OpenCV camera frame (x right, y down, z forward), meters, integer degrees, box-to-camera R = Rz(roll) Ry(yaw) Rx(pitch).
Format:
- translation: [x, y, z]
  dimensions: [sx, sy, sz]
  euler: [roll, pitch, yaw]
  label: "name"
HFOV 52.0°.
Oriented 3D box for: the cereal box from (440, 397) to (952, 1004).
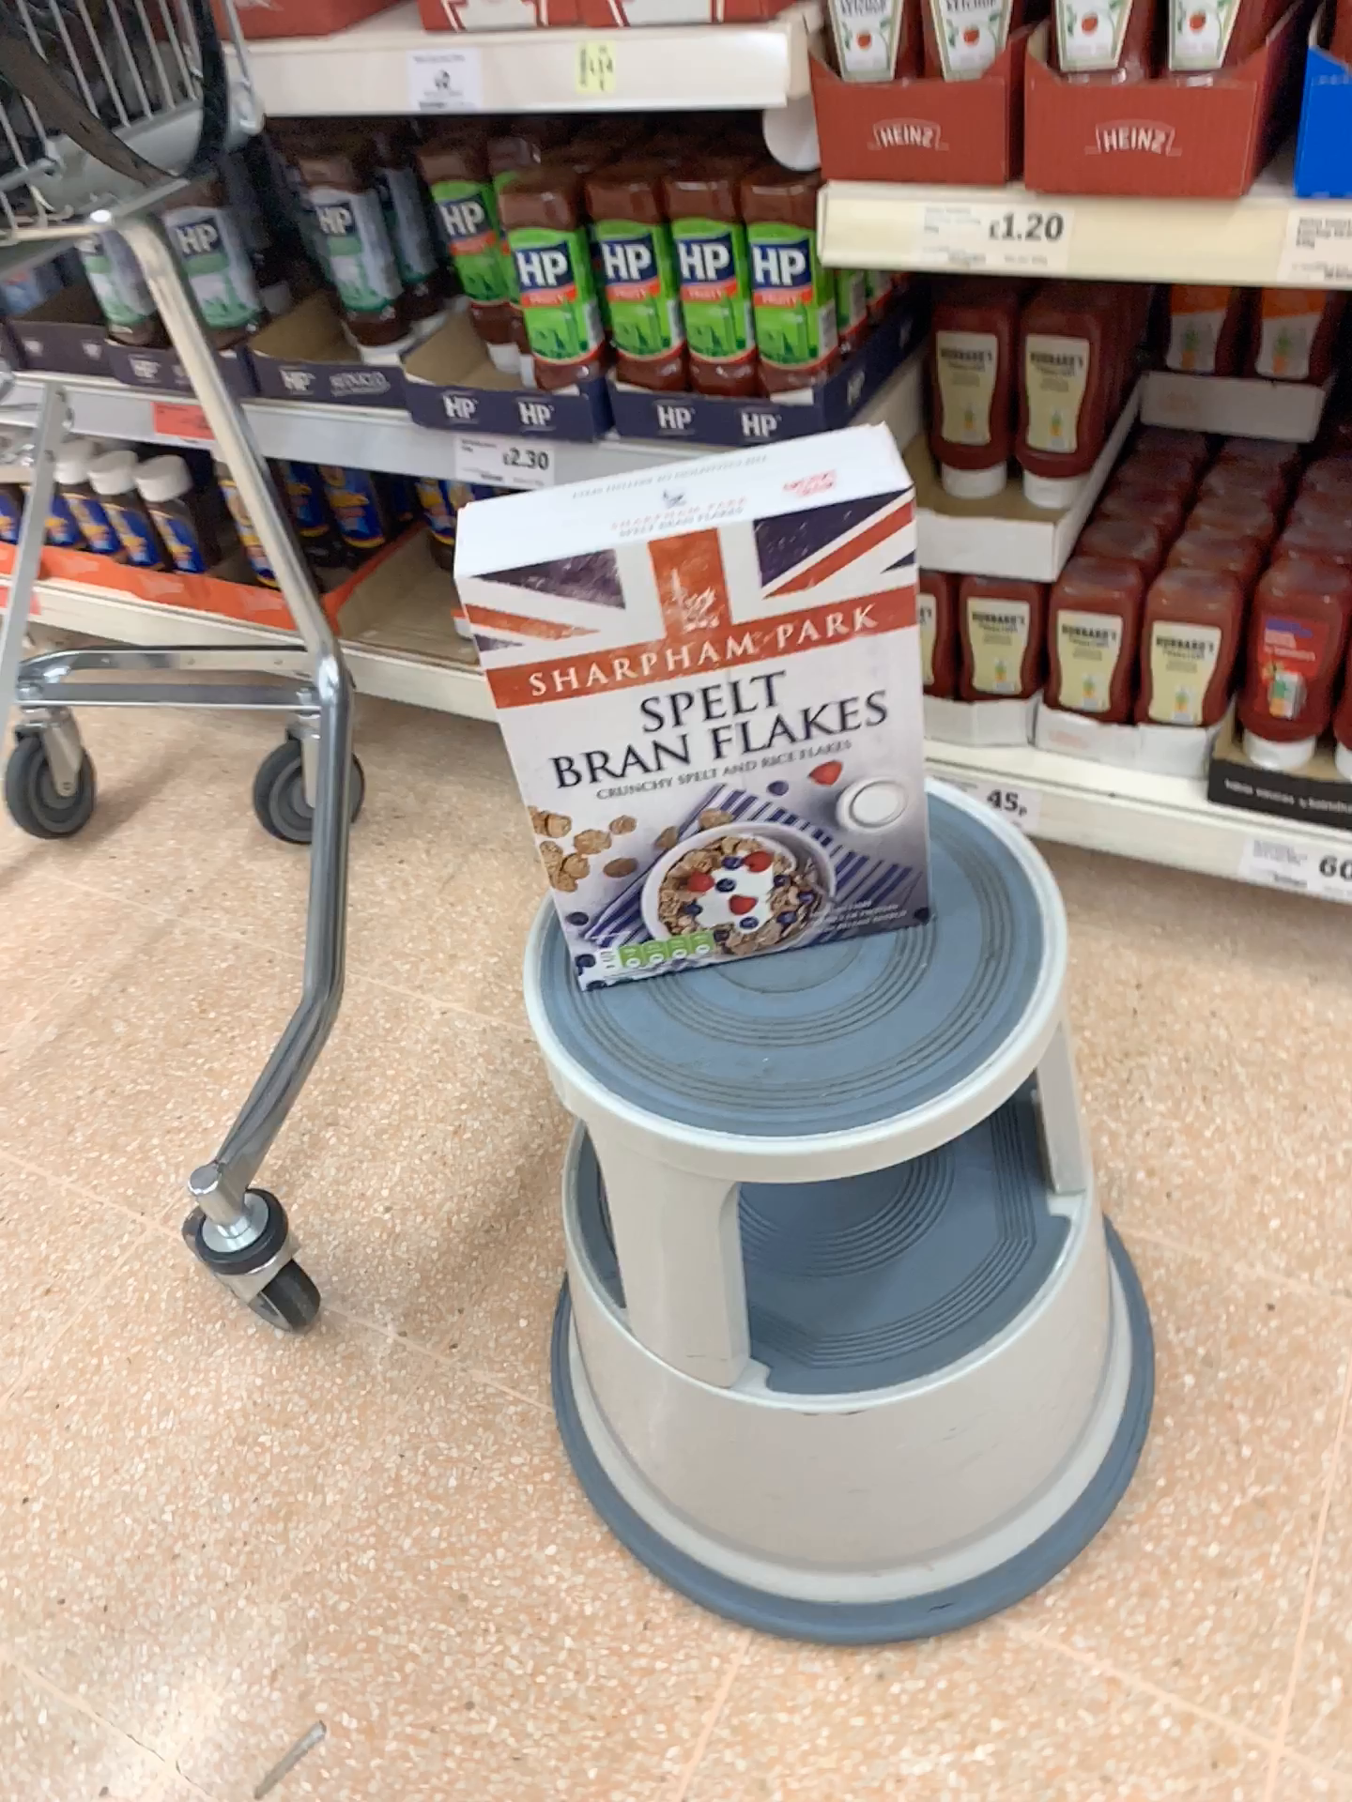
- translation: [0.021, -0.081, 0.656]
  dimensions: [0.200, 0.258, 0.071]
  euler: [-10, 43, 2]
  label: "cereal box"
